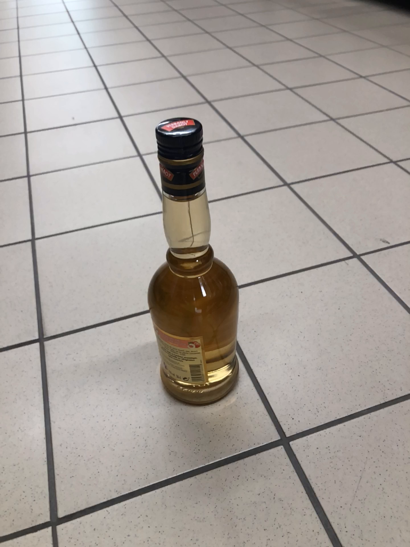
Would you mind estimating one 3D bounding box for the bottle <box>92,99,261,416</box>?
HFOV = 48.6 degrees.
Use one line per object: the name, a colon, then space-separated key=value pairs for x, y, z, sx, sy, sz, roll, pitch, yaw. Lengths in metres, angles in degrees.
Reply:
bottle: x=-0.012 y=-0.001 z=0.378 sx=0.080 sy=0.248 sz=0.081 roll=-2 pitch=39 yaw=1
